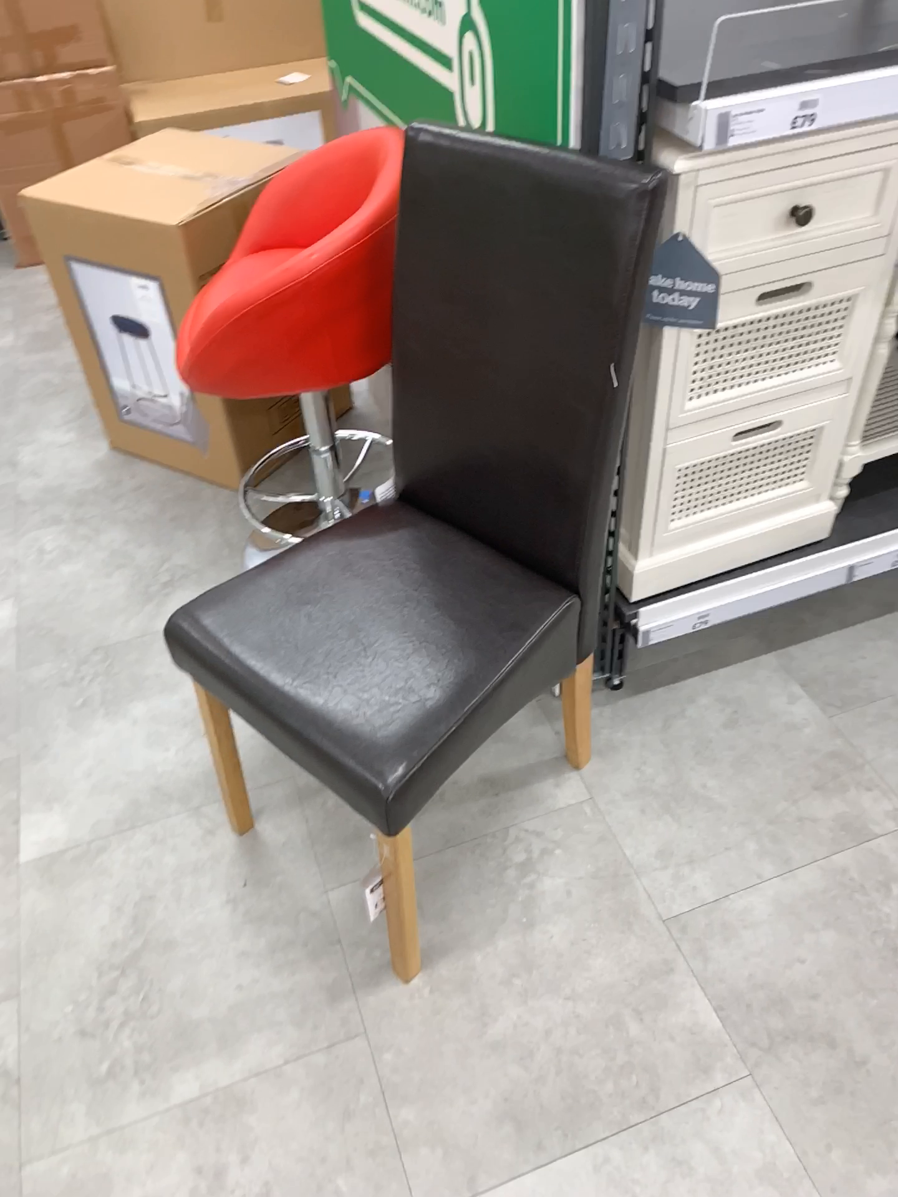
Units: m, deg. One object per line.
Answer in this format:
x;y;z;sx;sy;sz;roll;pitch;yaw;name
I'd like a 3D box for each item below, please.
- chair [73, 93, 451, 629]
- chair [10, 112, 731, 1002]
-0.265;-0.395;1.624;0.455;0.774;0.430;-6;42;-2;chair
-0.036;-0.030;1.184;0.427;0.912;0.558;30;52;32;chair
